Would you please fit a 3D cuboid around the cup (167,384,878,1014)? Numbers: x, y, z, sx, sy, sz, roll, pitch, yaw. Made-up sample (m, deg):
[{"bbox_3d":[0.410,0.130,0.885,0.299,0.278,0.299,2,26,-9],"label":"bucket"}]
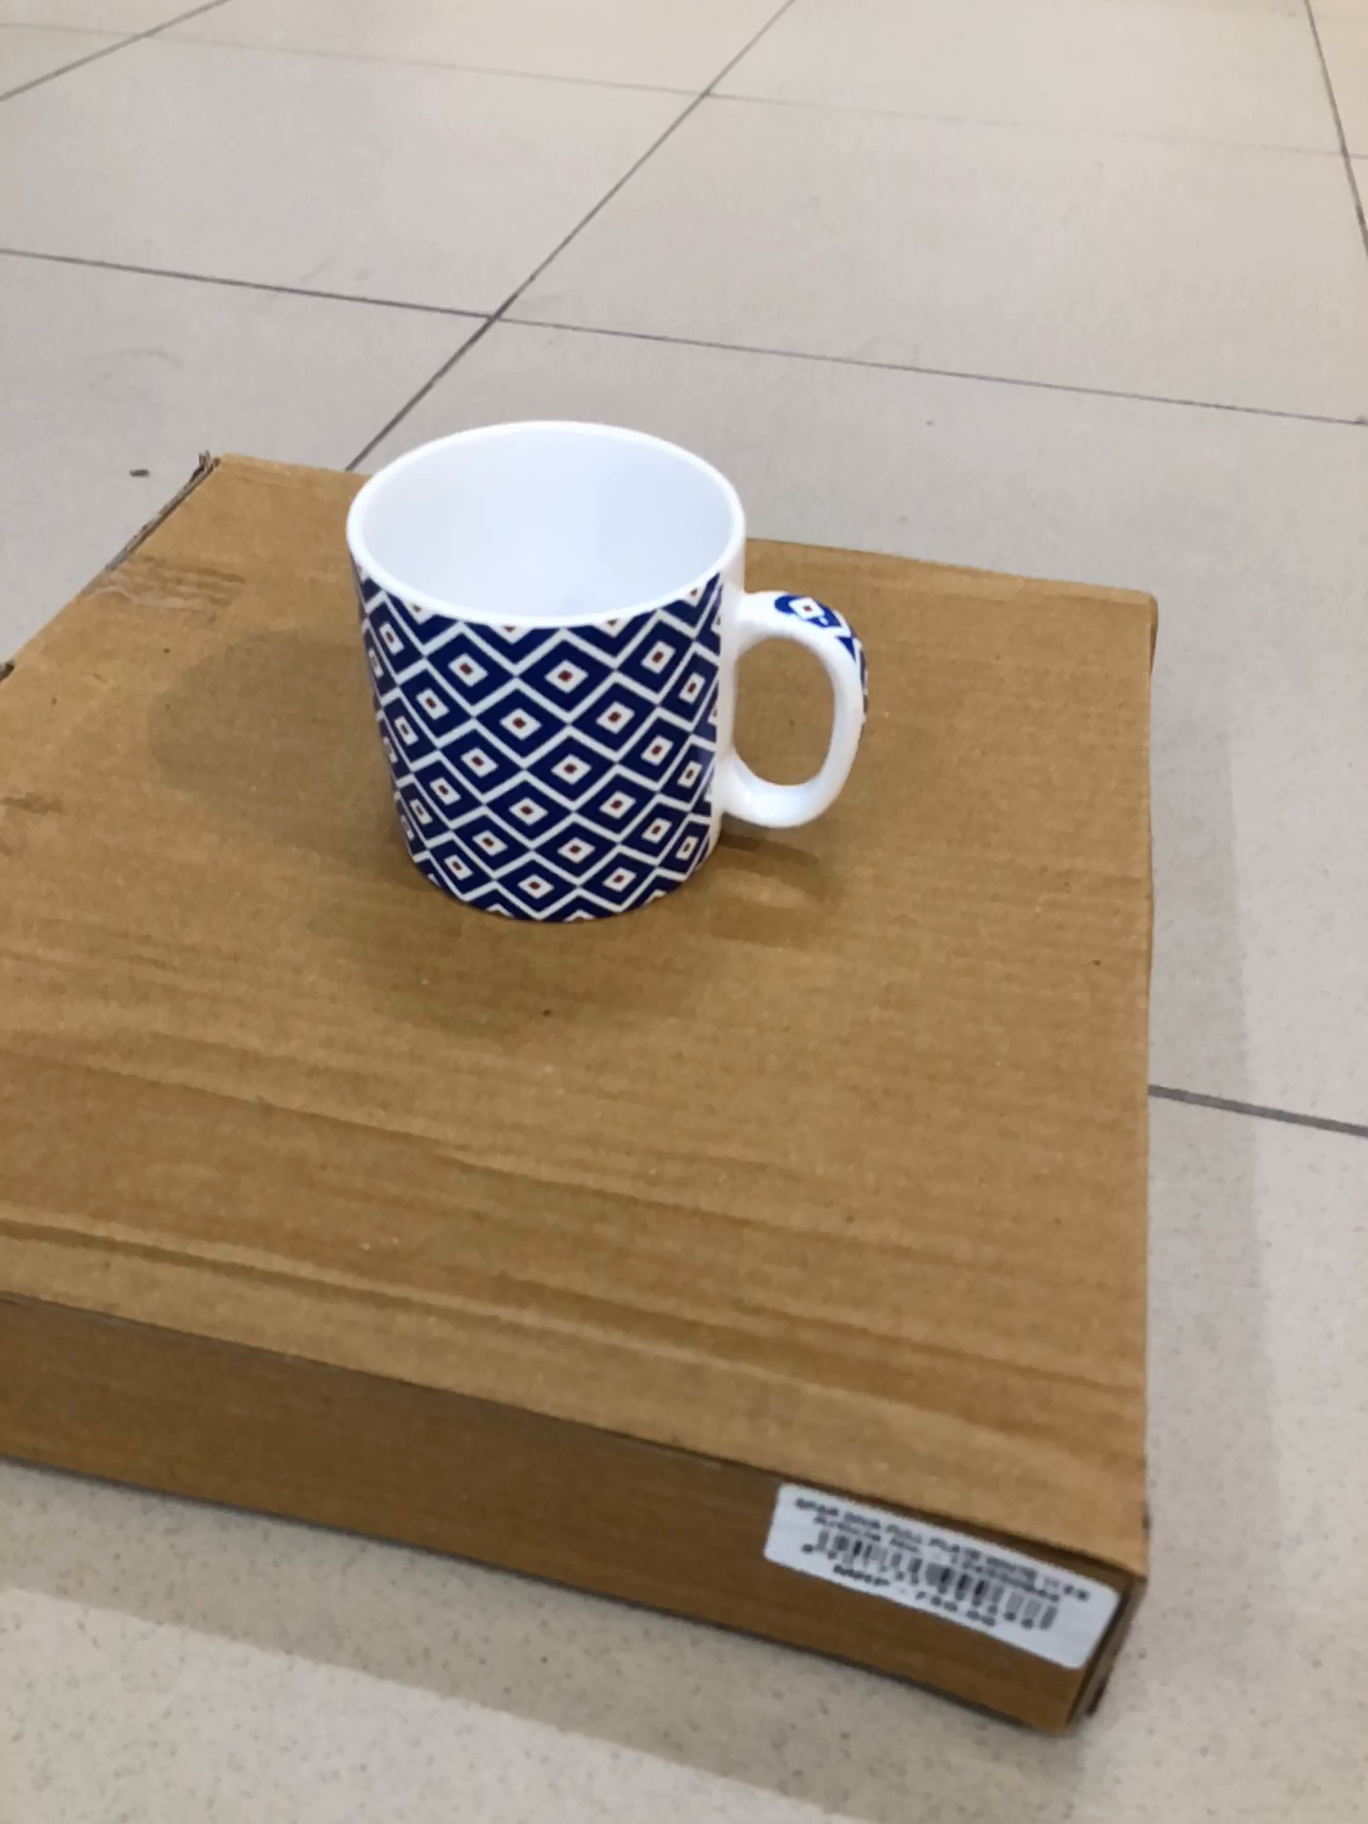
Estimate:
[{"bbox_3d":[-0.025,-0.045,0.300,0.110,0.079,0.081,9,42,8],"label":"cup"}]
